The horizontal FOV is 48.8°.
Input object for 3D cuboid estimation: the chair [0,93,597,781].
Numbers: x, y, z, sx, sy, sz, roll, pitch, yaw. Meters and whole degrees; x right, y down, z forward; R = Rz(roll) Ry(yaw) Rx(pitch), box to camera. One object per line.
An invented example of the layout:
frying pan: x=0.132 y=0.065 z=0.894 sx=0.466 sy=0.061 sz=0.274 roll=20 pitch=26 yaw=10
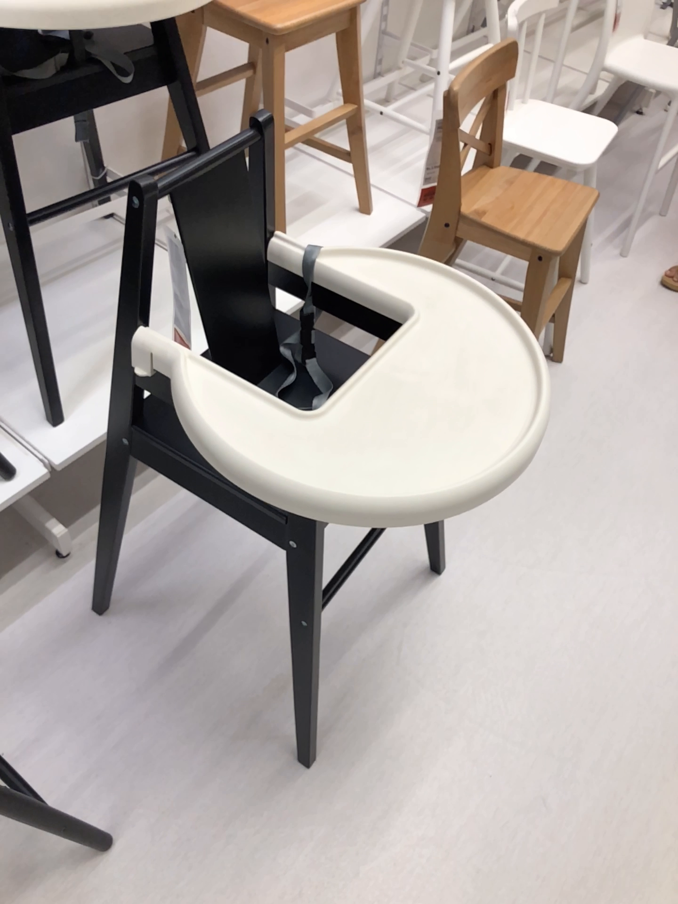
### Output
chair: x=-0.077 y=-0.005 z=1.191 sx=0.551 sy=0.775 sz=0.552 roll=30 pitch=53 yaw=19
